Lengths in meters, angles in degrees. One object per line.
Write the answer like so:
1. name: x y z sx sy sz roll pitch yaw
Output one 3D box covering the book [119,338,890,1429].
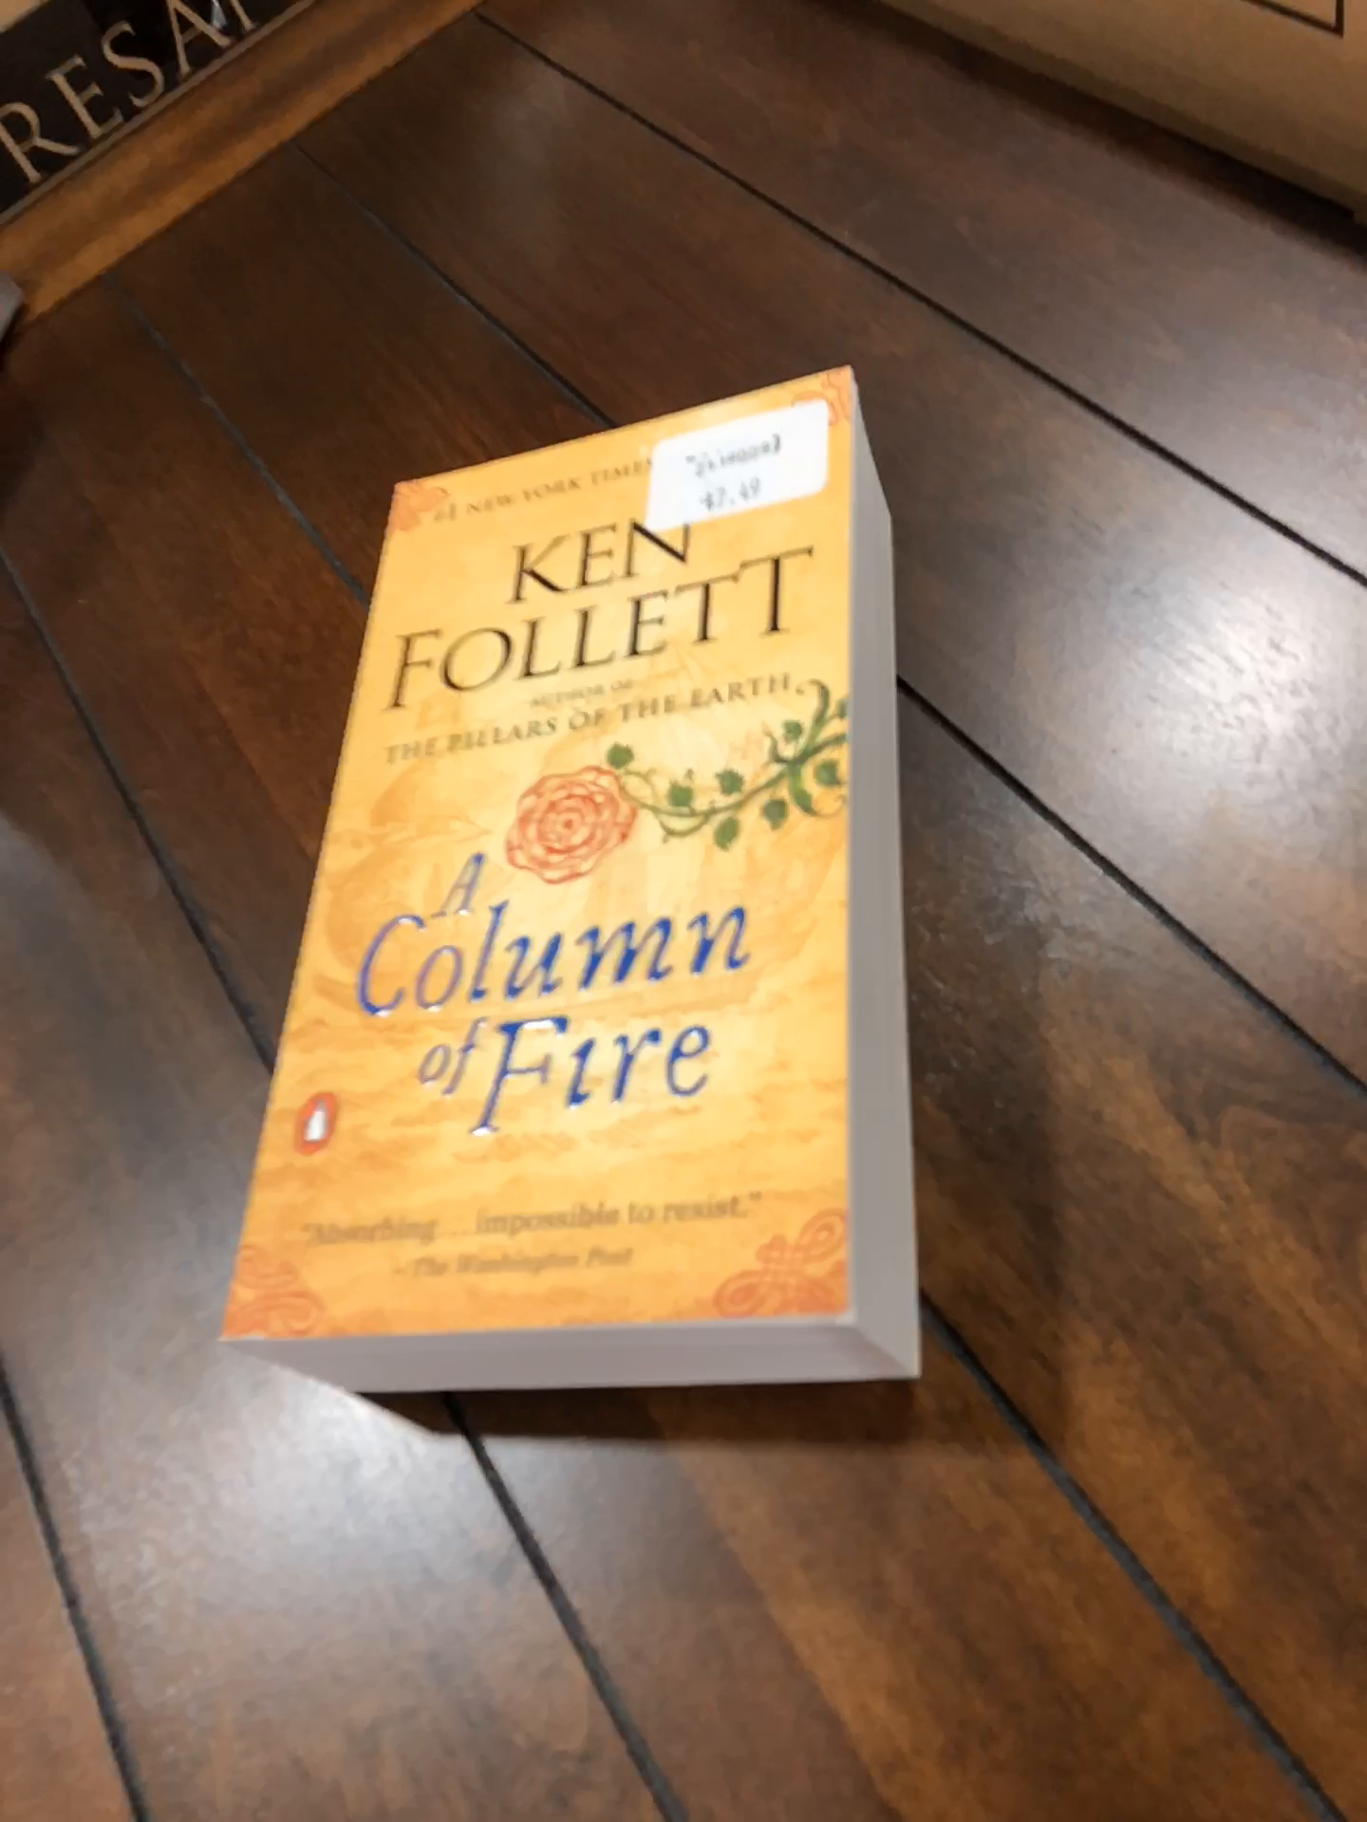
1. book: -0.022 -0.011 0.279 0.110 0.040 0.195 -7 58 18
